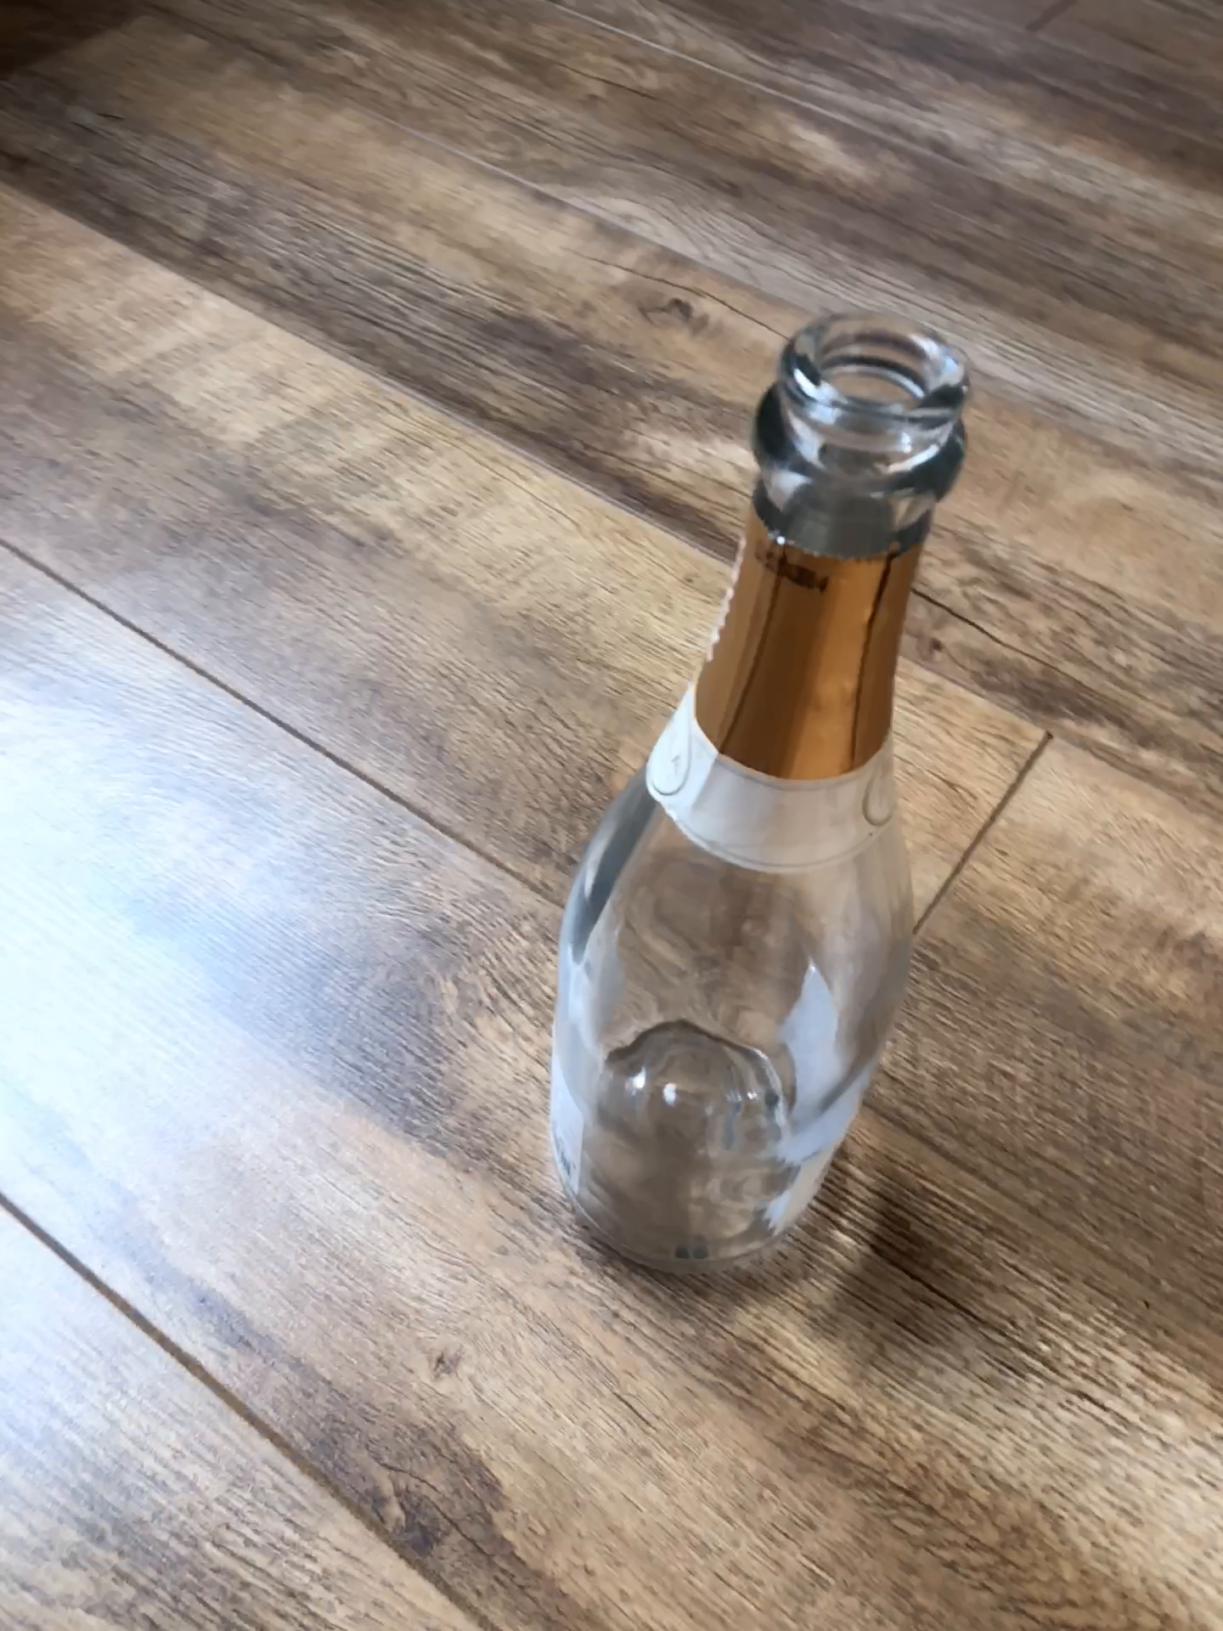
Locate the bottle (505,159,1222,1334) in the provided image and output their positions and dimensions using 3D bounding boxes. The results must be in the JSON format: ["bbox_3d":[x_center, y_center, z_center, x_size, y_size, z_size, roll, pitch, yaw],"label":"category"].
[{"bbox_3d":[0.031,0.023,0.314,0.090,0.298,0.091,2,54,-3],"label":"bottle"}]
